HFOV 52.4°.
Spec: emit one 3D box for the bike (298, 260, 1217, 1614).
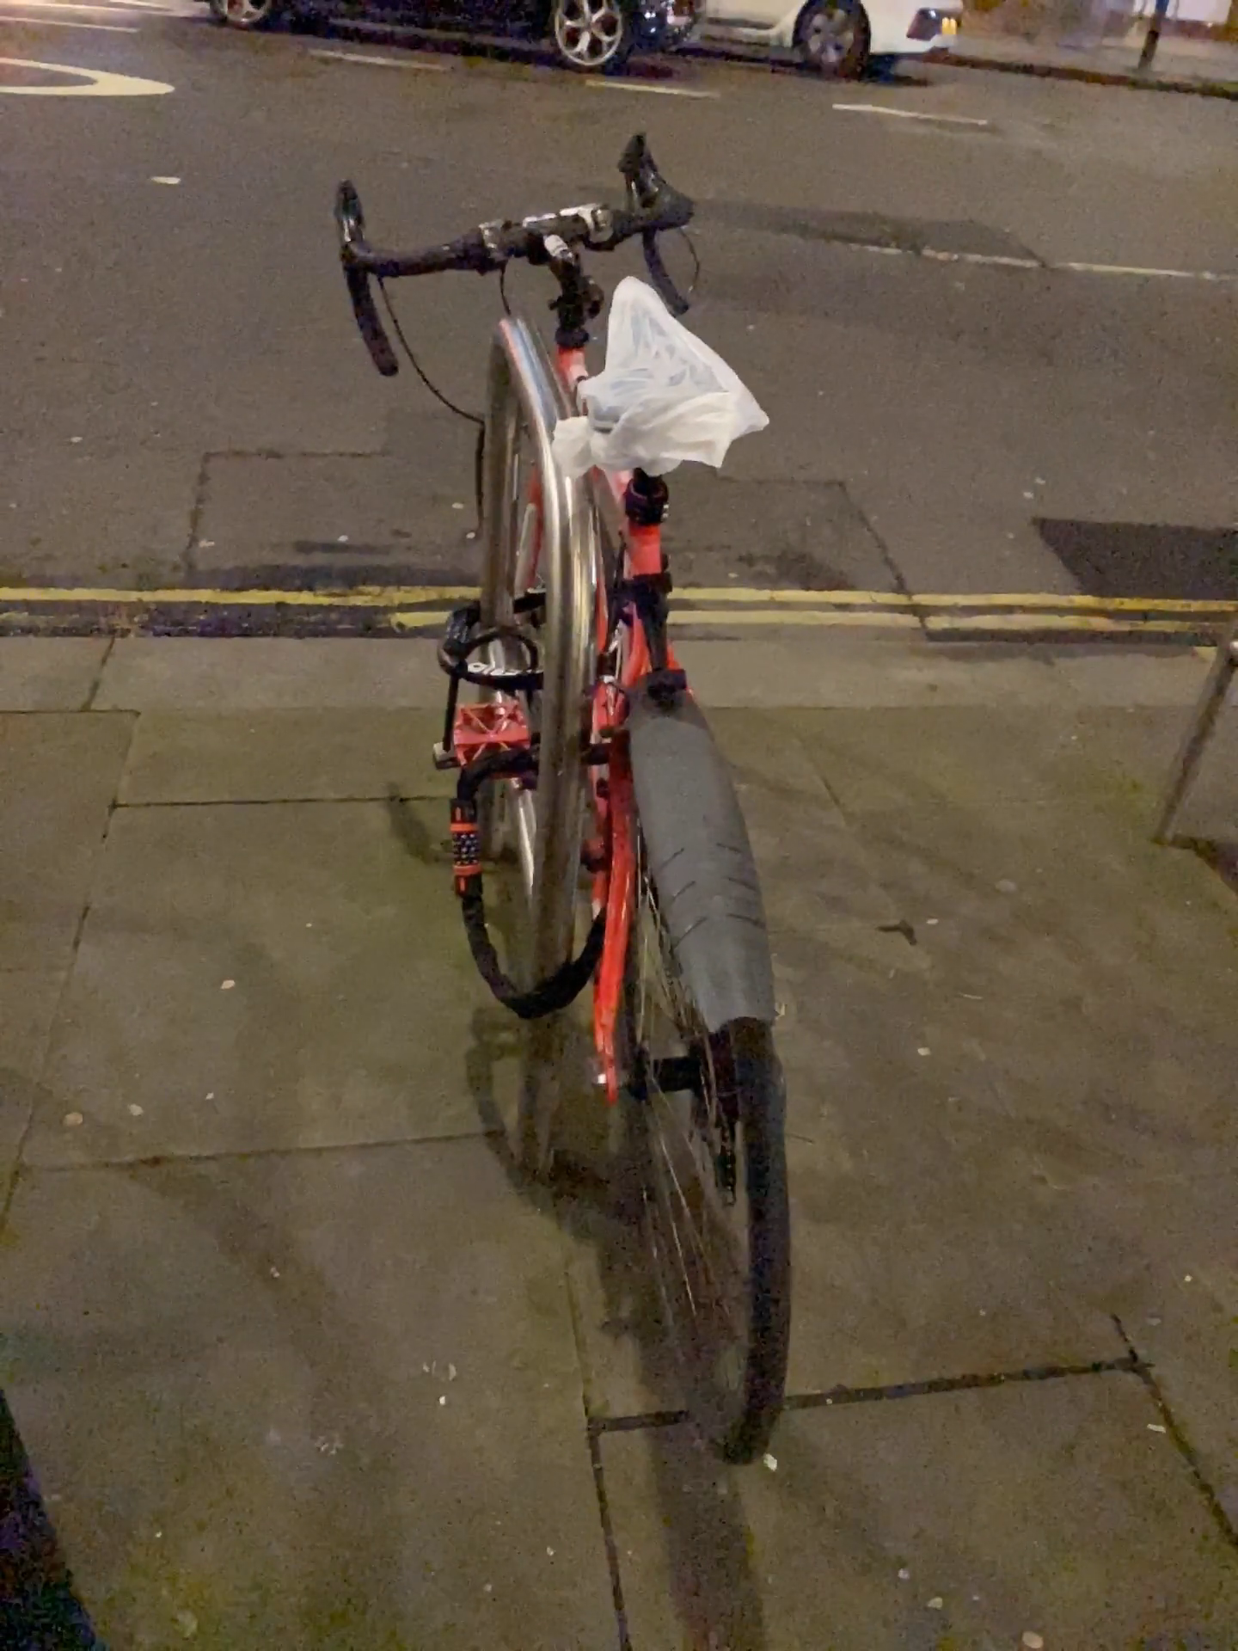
[{"bbox_3d":[-0.103,-0.100,1.618,0.537,0.809,1.670,-3,36,-12],"label":"bike"}]
